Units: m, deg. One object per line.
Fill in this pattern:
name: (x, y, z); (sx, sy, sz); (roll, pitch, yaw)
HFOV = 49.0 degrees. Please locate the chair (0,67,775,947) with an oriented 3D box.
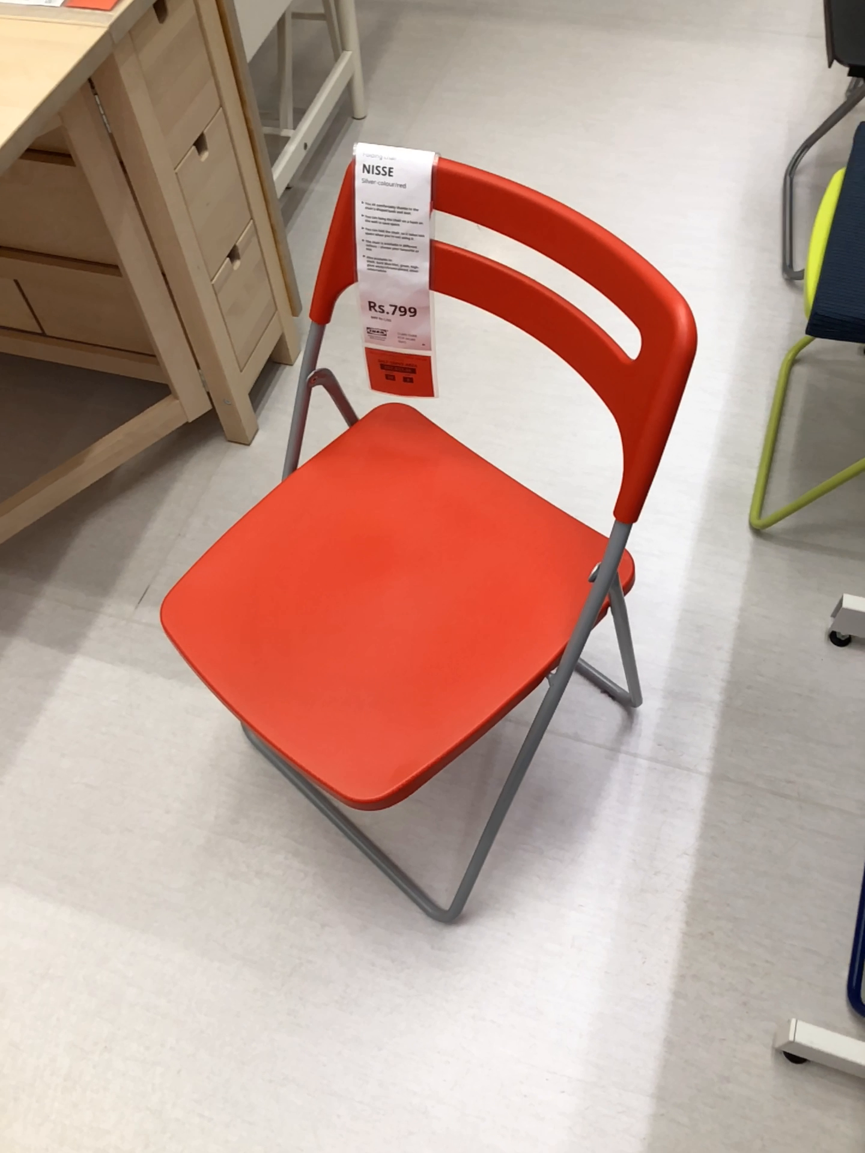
chair: (-0.041, -0.018, 0.965); (0.441, 0.677, 0.421); (37, 67, 25)
